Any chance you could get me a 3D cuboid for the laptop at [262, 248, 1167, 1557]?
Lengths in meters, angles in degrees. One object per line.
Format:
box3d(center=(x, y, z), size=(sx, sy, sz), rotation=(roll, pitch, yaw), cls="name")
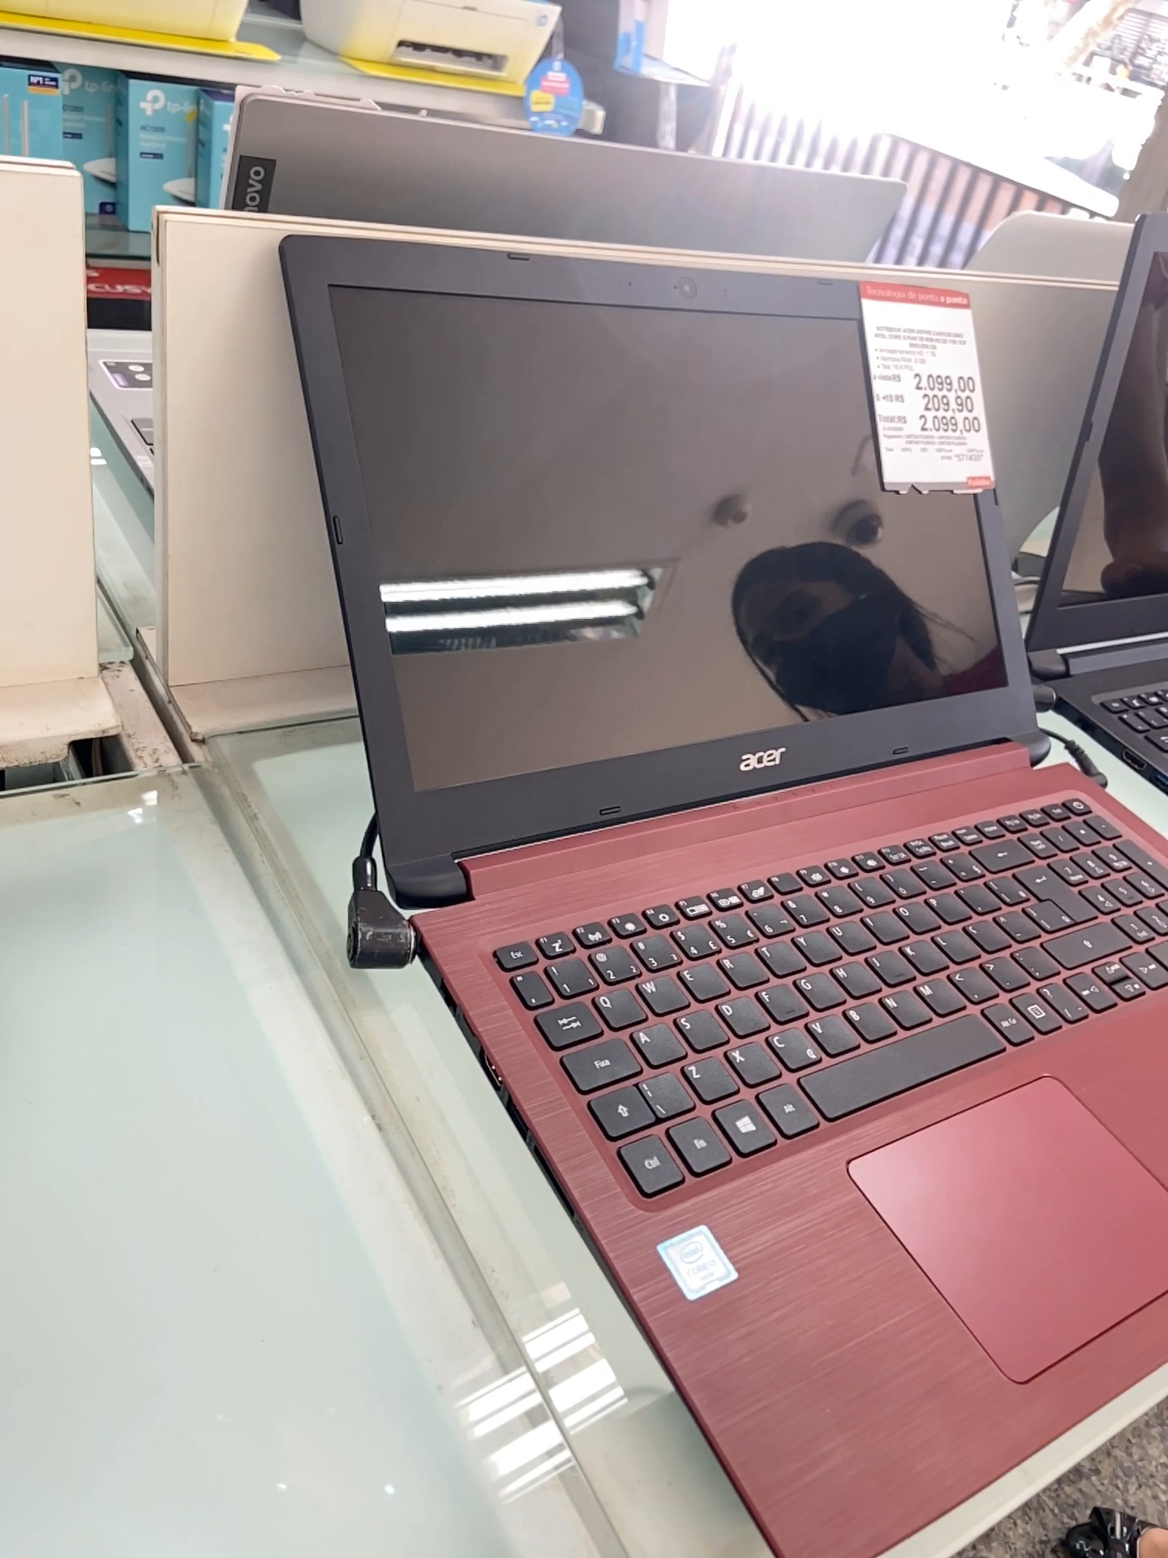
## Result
box3d(center=(0.135, -0.035, 0.485), size=(0.392, 0.193, 0.430), rotation=(-10, 41, -31), cls="laptop")
